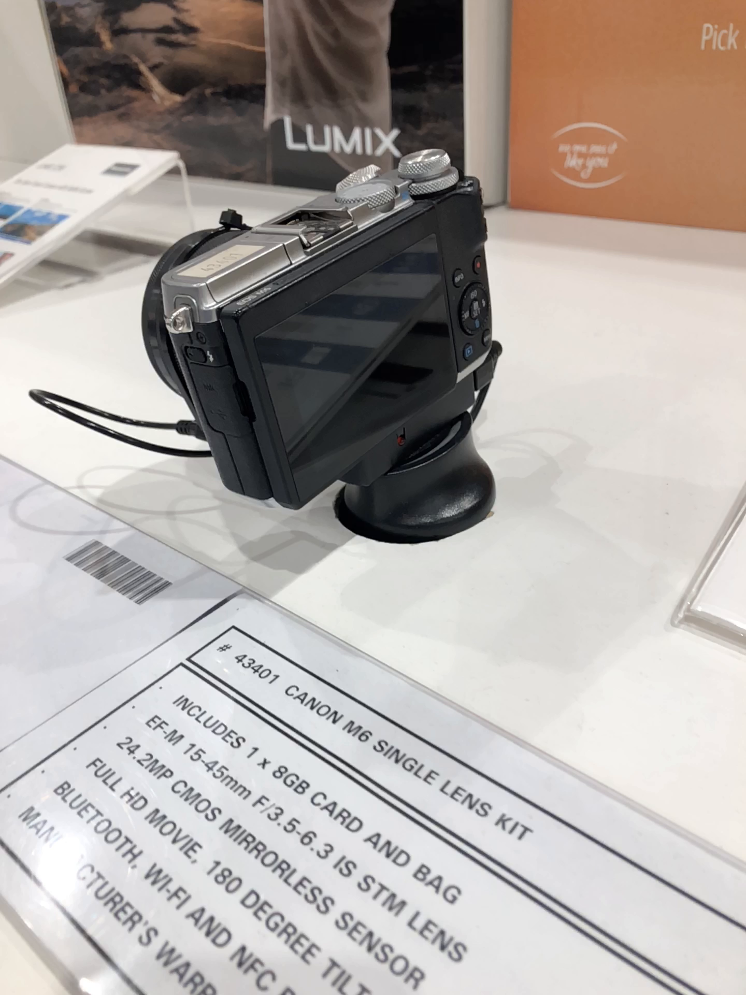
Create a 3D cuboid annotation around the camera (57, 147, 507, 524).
[{"bbox_3d":[-0.023,-0.060,0.269,0.083,0.075,0.102,18,42,38],"label":"camera"}]
